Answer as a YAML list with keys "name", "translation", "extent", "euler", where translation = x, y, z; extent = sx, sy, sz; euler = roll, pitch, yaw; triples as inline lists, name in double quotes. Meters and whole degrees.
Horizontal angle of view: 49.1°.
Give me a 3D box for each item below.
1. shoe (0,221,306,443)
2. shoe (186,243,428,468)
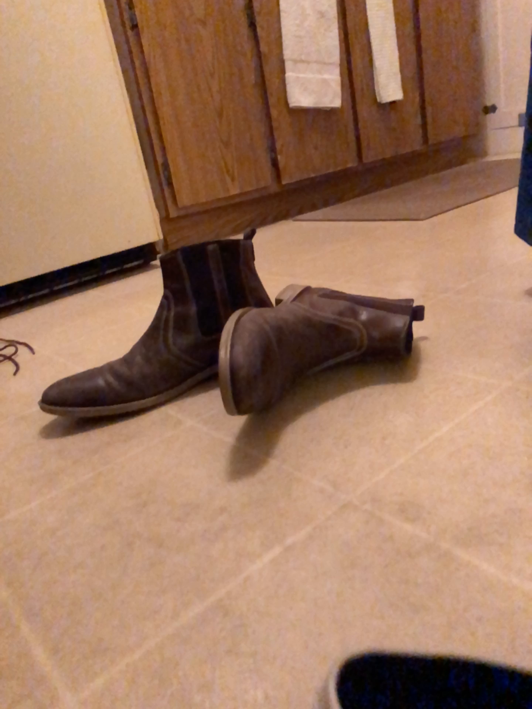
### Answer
- name: "shoe"
  translation: [-0.130, -0.038, 0.686]
  extent: [0.313, 0.160, 0.112]
  euler: [-17, 21, -15]
- name: "shoe"
  translation: [0.069, -0.020, 0.611]
  extent: [0.161, 0.111, 0.314]
  euler: [-1, 23, 22]
